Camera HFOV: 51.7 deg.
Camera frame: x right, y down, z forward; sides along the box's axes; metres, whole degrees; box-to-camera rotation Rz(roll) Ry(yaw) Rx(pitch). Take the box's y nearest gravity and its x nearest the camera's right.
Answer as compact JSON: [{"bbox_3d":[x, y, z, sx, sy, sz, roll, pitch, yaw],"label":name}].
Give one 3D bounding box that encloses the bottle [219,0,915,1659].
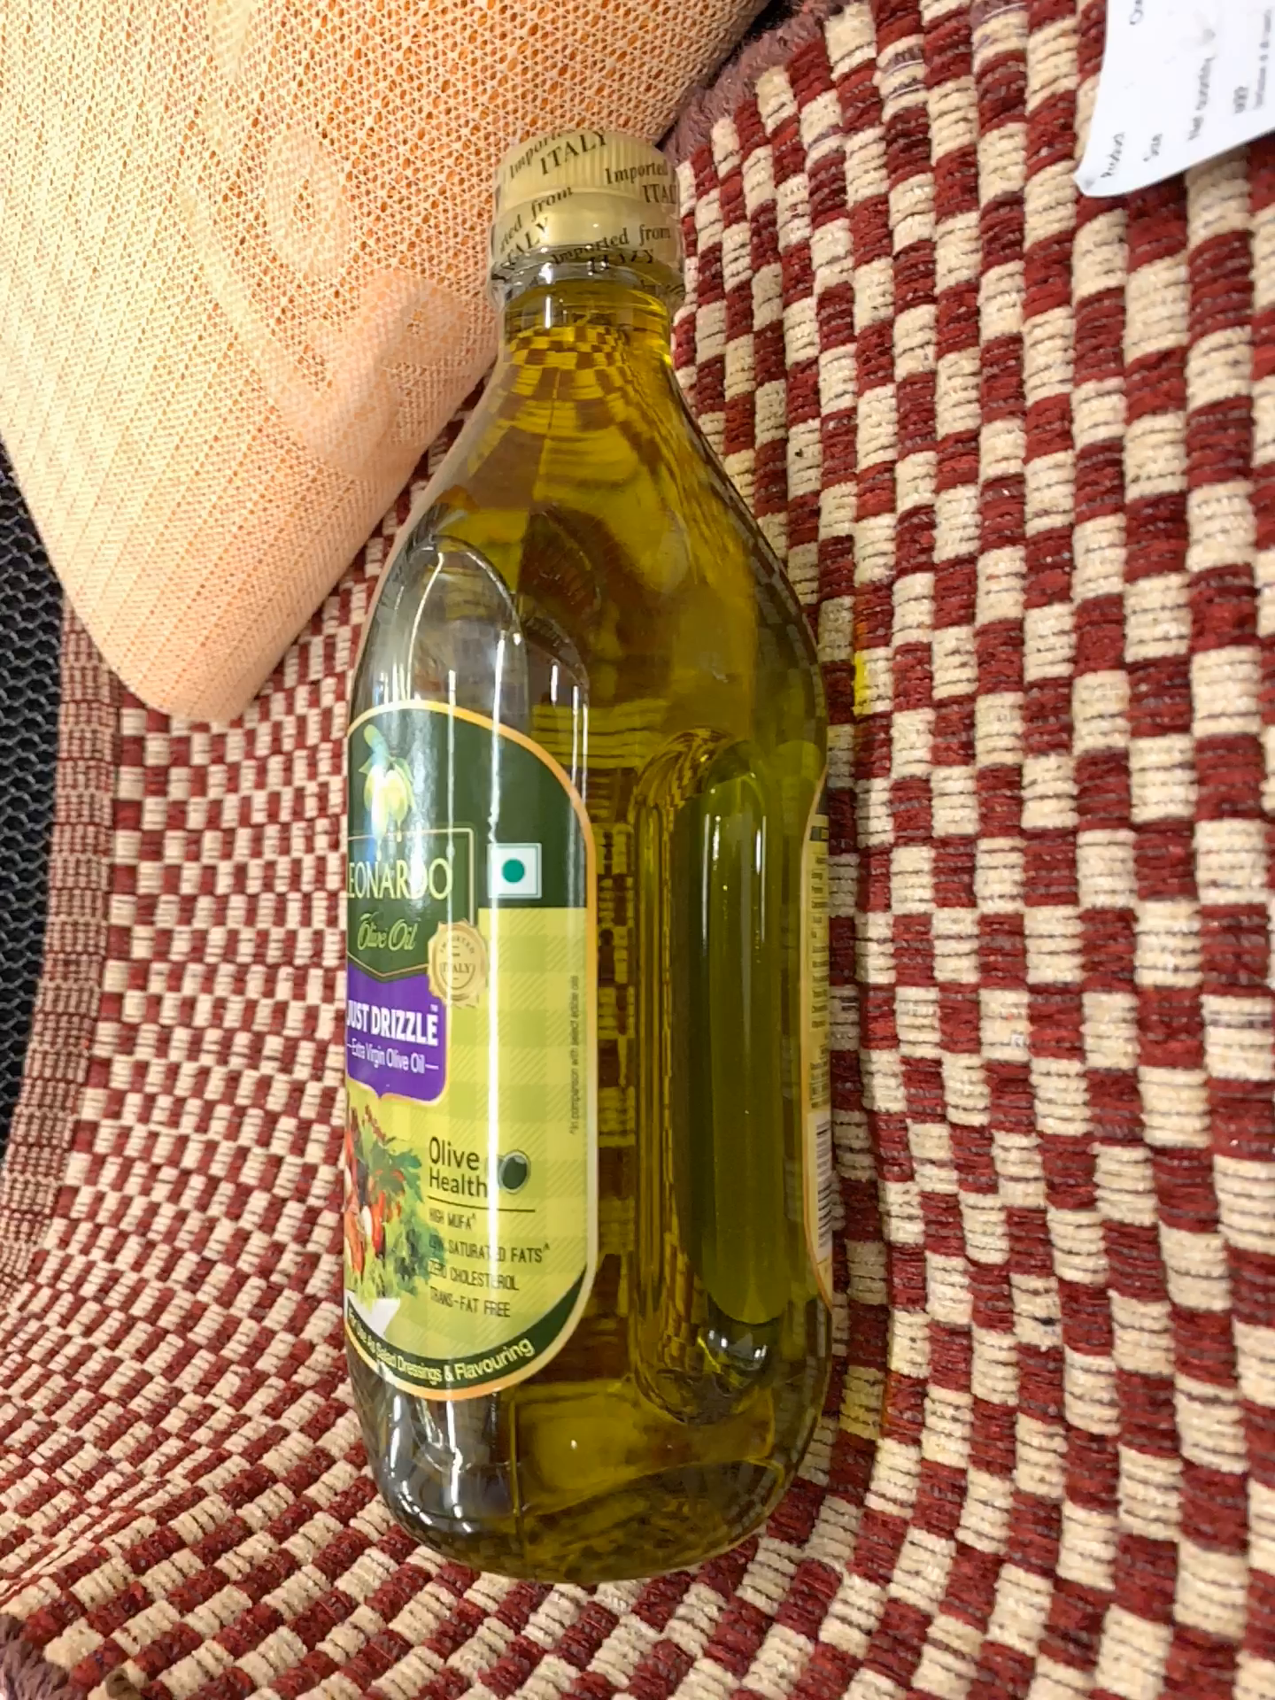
[{"bbox_3d":[-0.014,-0.014,0.224,0.080,0.070,0.240,4,92,45],"label":"bottle"}]
